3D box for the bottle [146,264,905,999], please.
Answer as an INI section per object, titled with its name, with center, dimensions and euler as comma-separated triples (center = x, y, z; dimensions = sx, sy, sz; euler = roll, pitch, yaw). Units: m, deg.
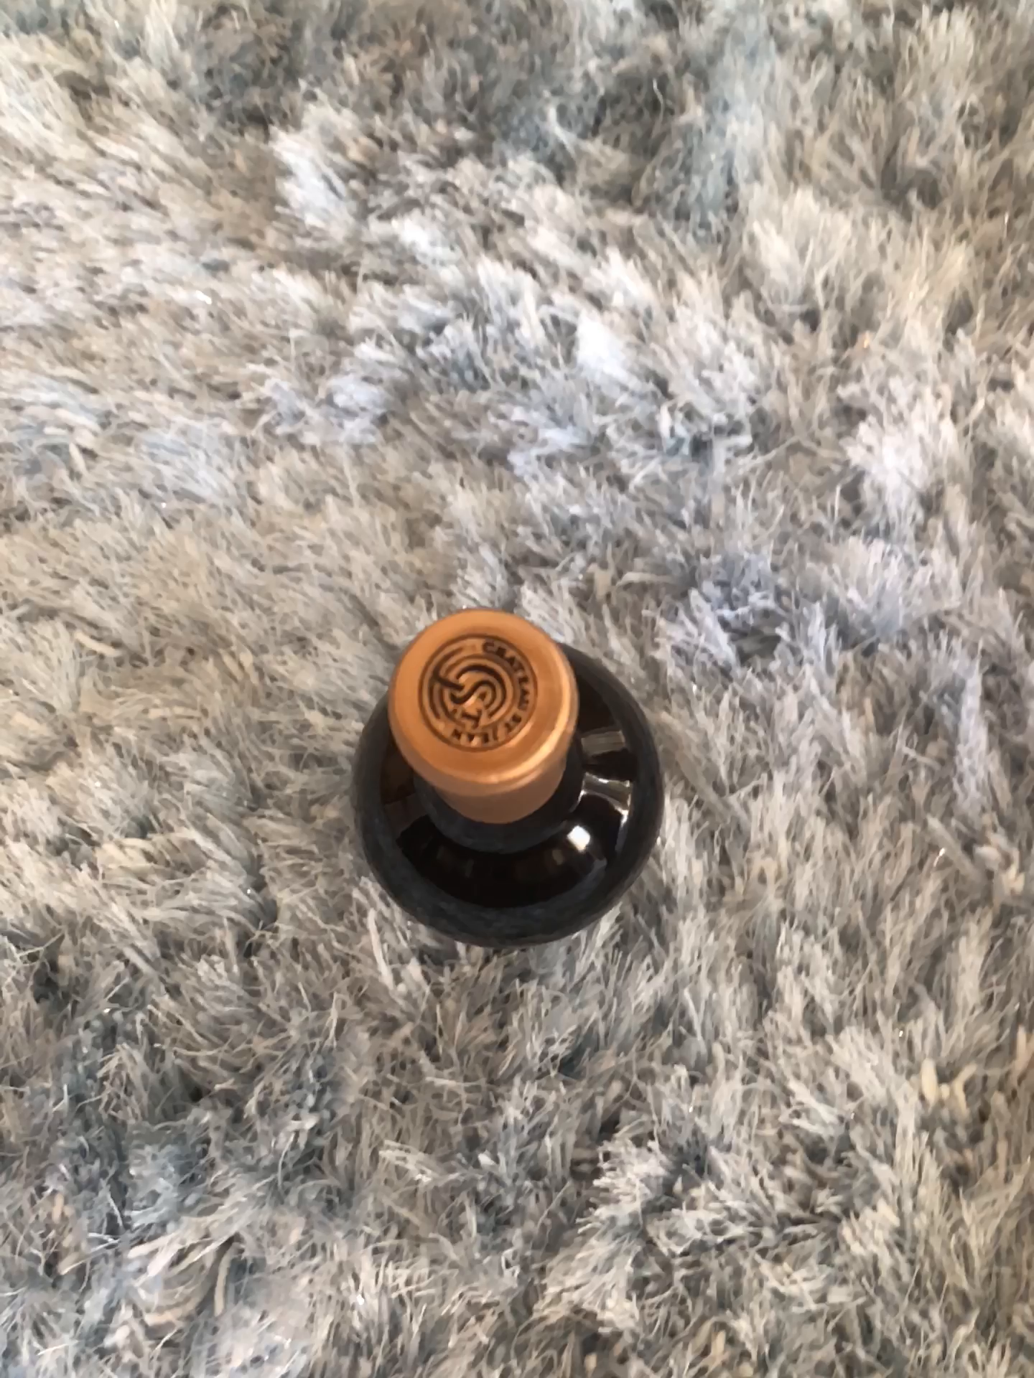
[bottle]
center = 0.005, 0.026, 0.315
dimensions = 0.090, 0.300, 0.090
euler = -1, 75, 3
